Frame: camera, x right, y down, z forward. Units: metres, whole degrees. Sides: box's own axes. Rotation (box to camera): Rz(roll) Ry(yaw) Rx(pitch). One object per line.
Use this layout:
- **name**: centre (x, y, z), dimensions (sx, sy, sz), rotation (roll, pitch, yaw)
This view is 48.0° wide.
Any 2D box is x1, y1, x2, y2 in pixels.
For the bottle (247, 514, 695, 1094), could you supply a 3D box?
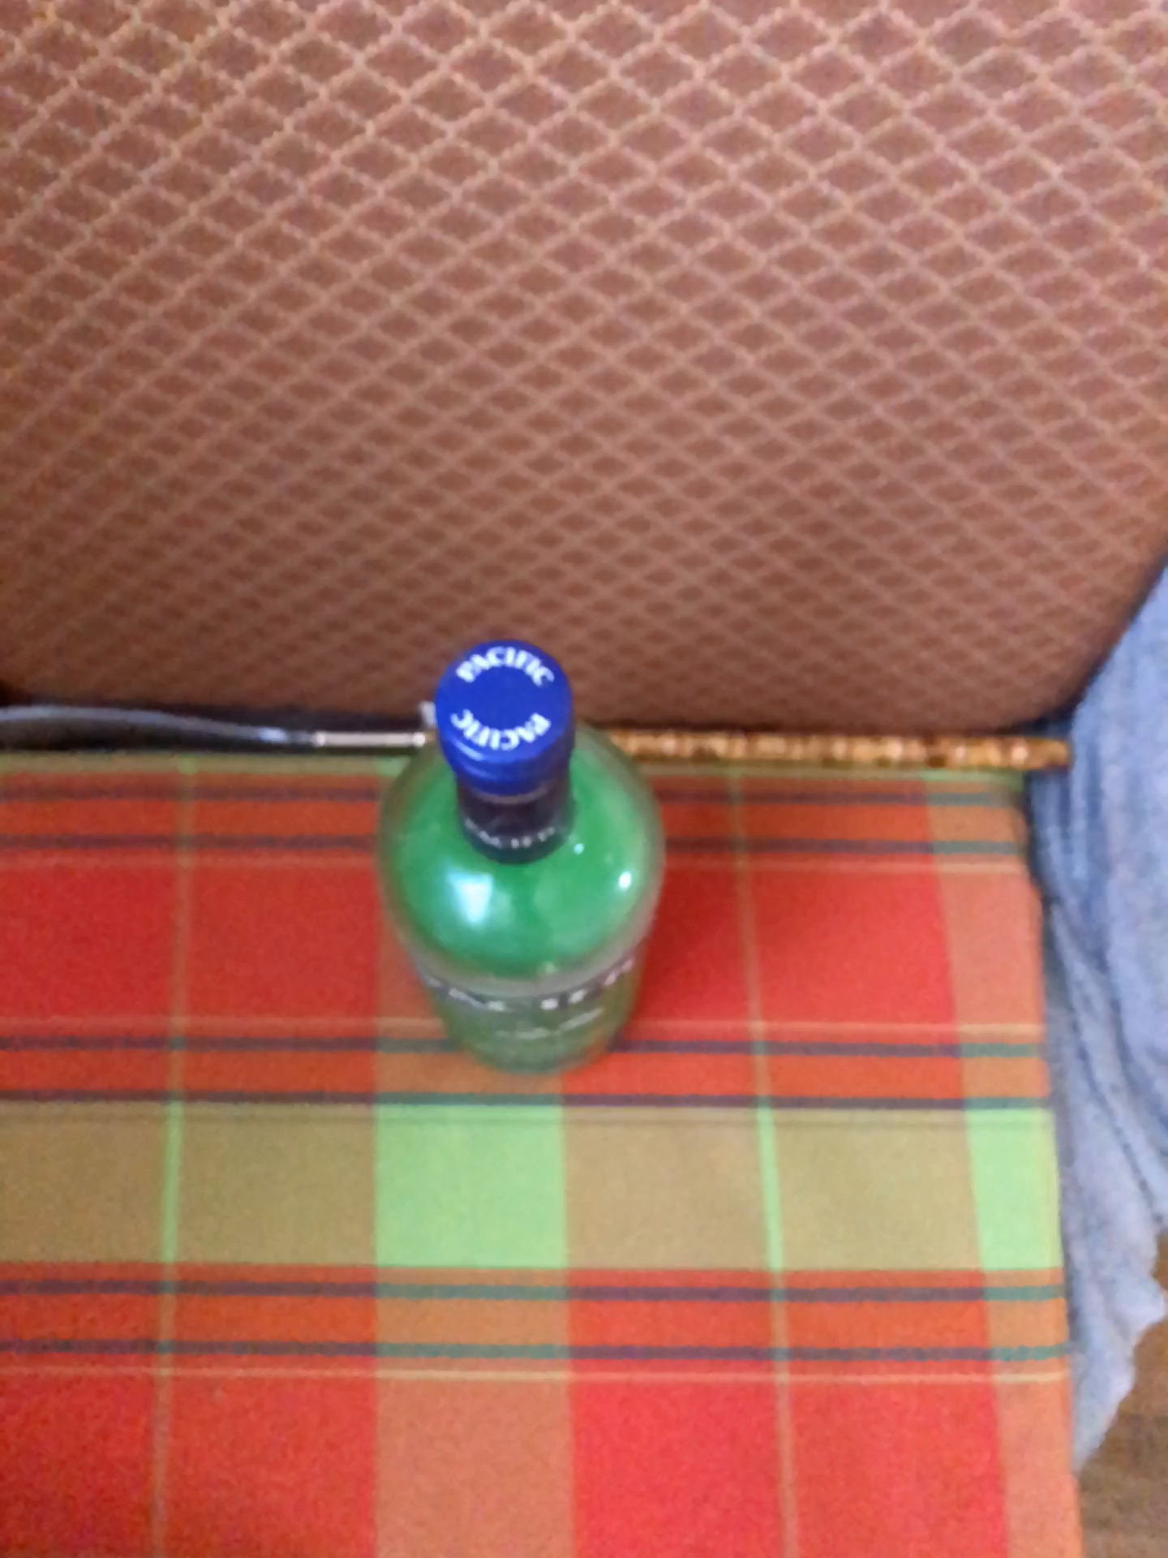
- **bottle**: centre (-0.024, 0.034, 0.426), dimensions (0.090, 0.290, 0.080), rotation (-9, 69, -2)
